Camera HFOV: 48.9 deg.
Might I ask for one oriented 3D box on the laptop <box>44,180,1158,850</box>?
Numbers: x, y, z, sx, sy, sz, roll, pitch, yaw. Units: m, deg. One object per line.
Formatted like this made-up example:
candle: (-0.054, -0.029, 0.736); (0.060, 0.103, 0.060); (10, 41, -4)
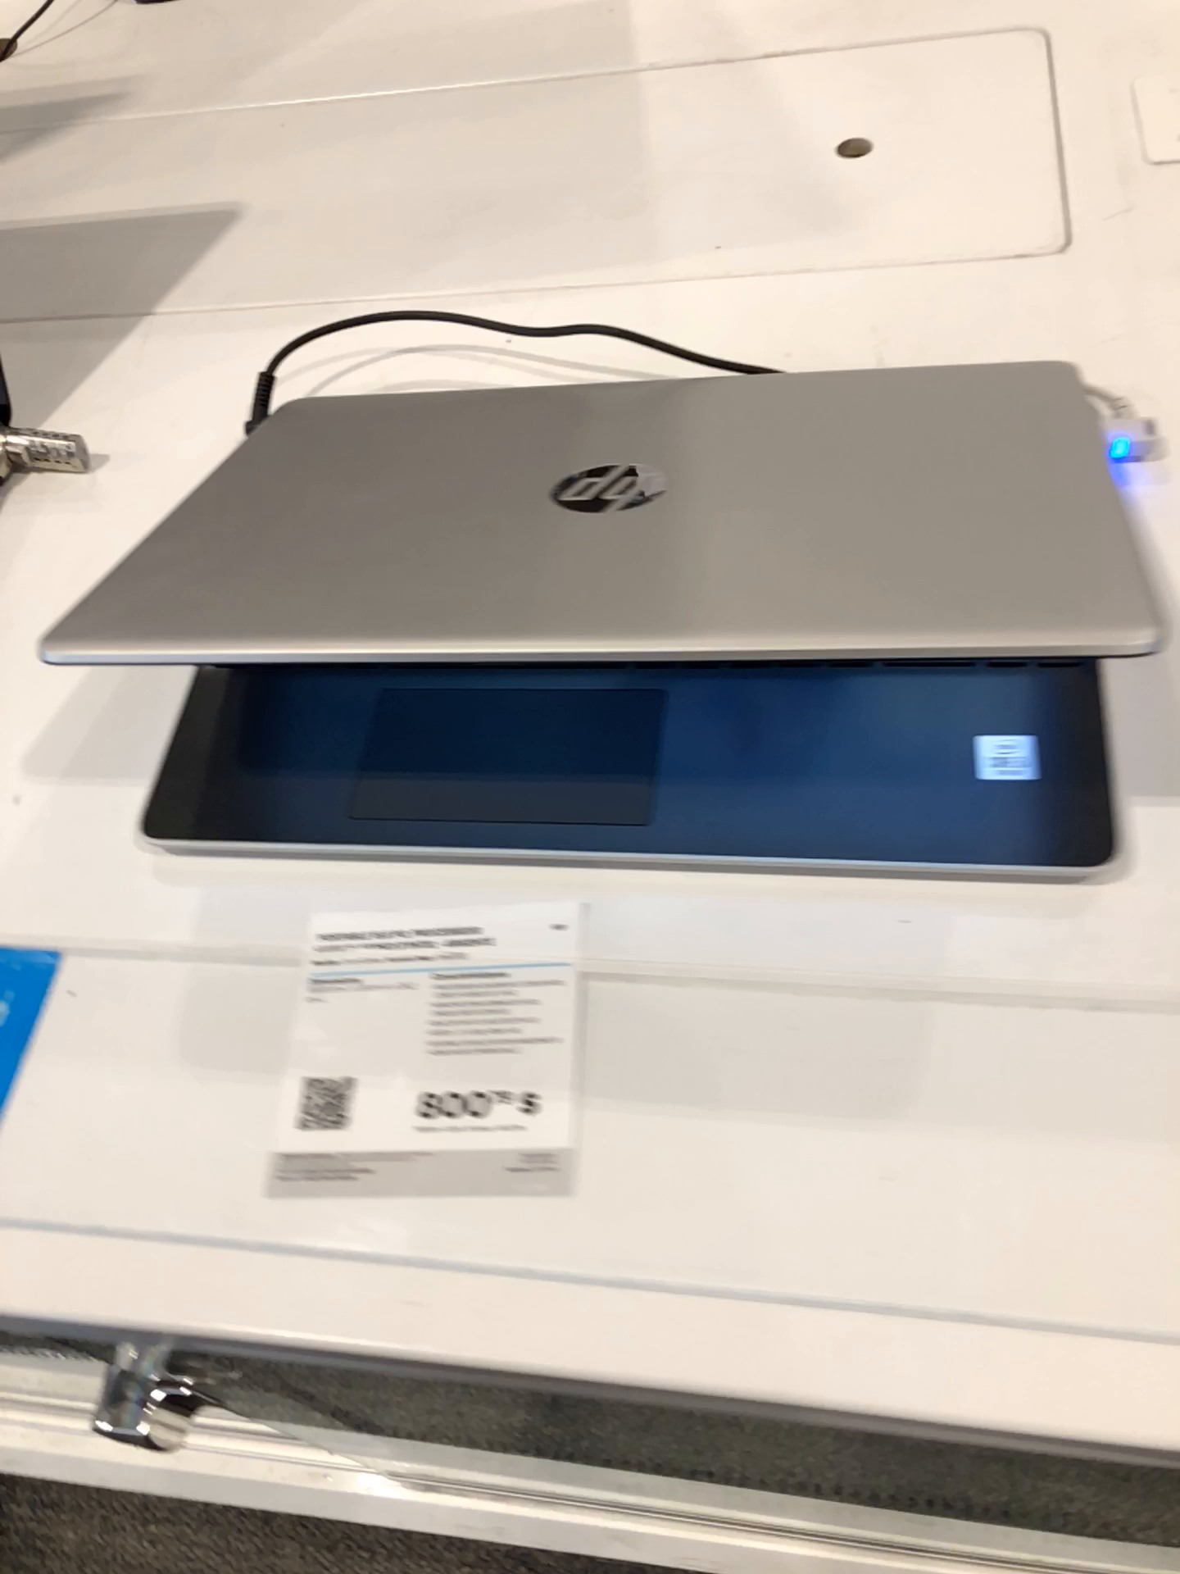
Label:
laptop: (0.009, -0.103, 0.482); (0.341, 0.086, 0.229); (1, 57, 14)
